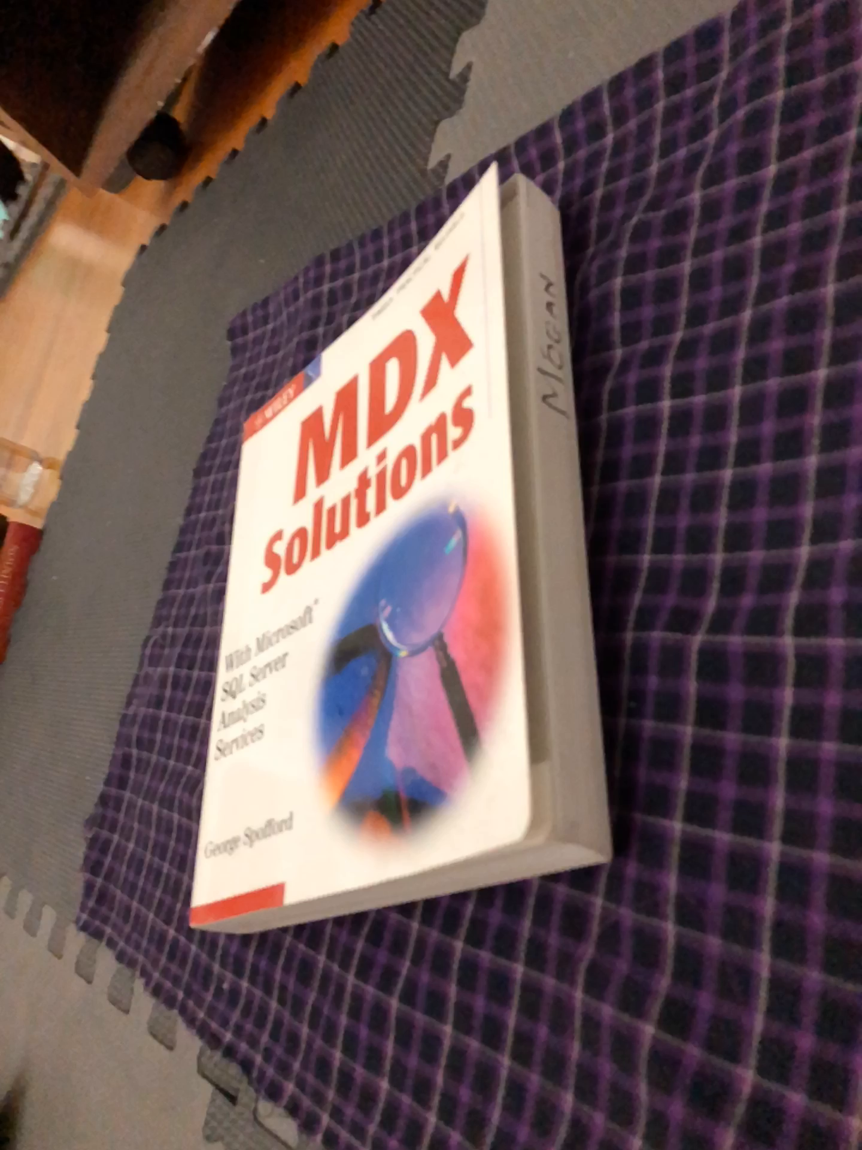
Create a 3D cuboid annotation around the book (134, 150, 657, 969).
[{"bbox_3d":[-0.027,0.004,0.375,0.220,0.050,0.261,-31,48,43],"label":"book"}]
